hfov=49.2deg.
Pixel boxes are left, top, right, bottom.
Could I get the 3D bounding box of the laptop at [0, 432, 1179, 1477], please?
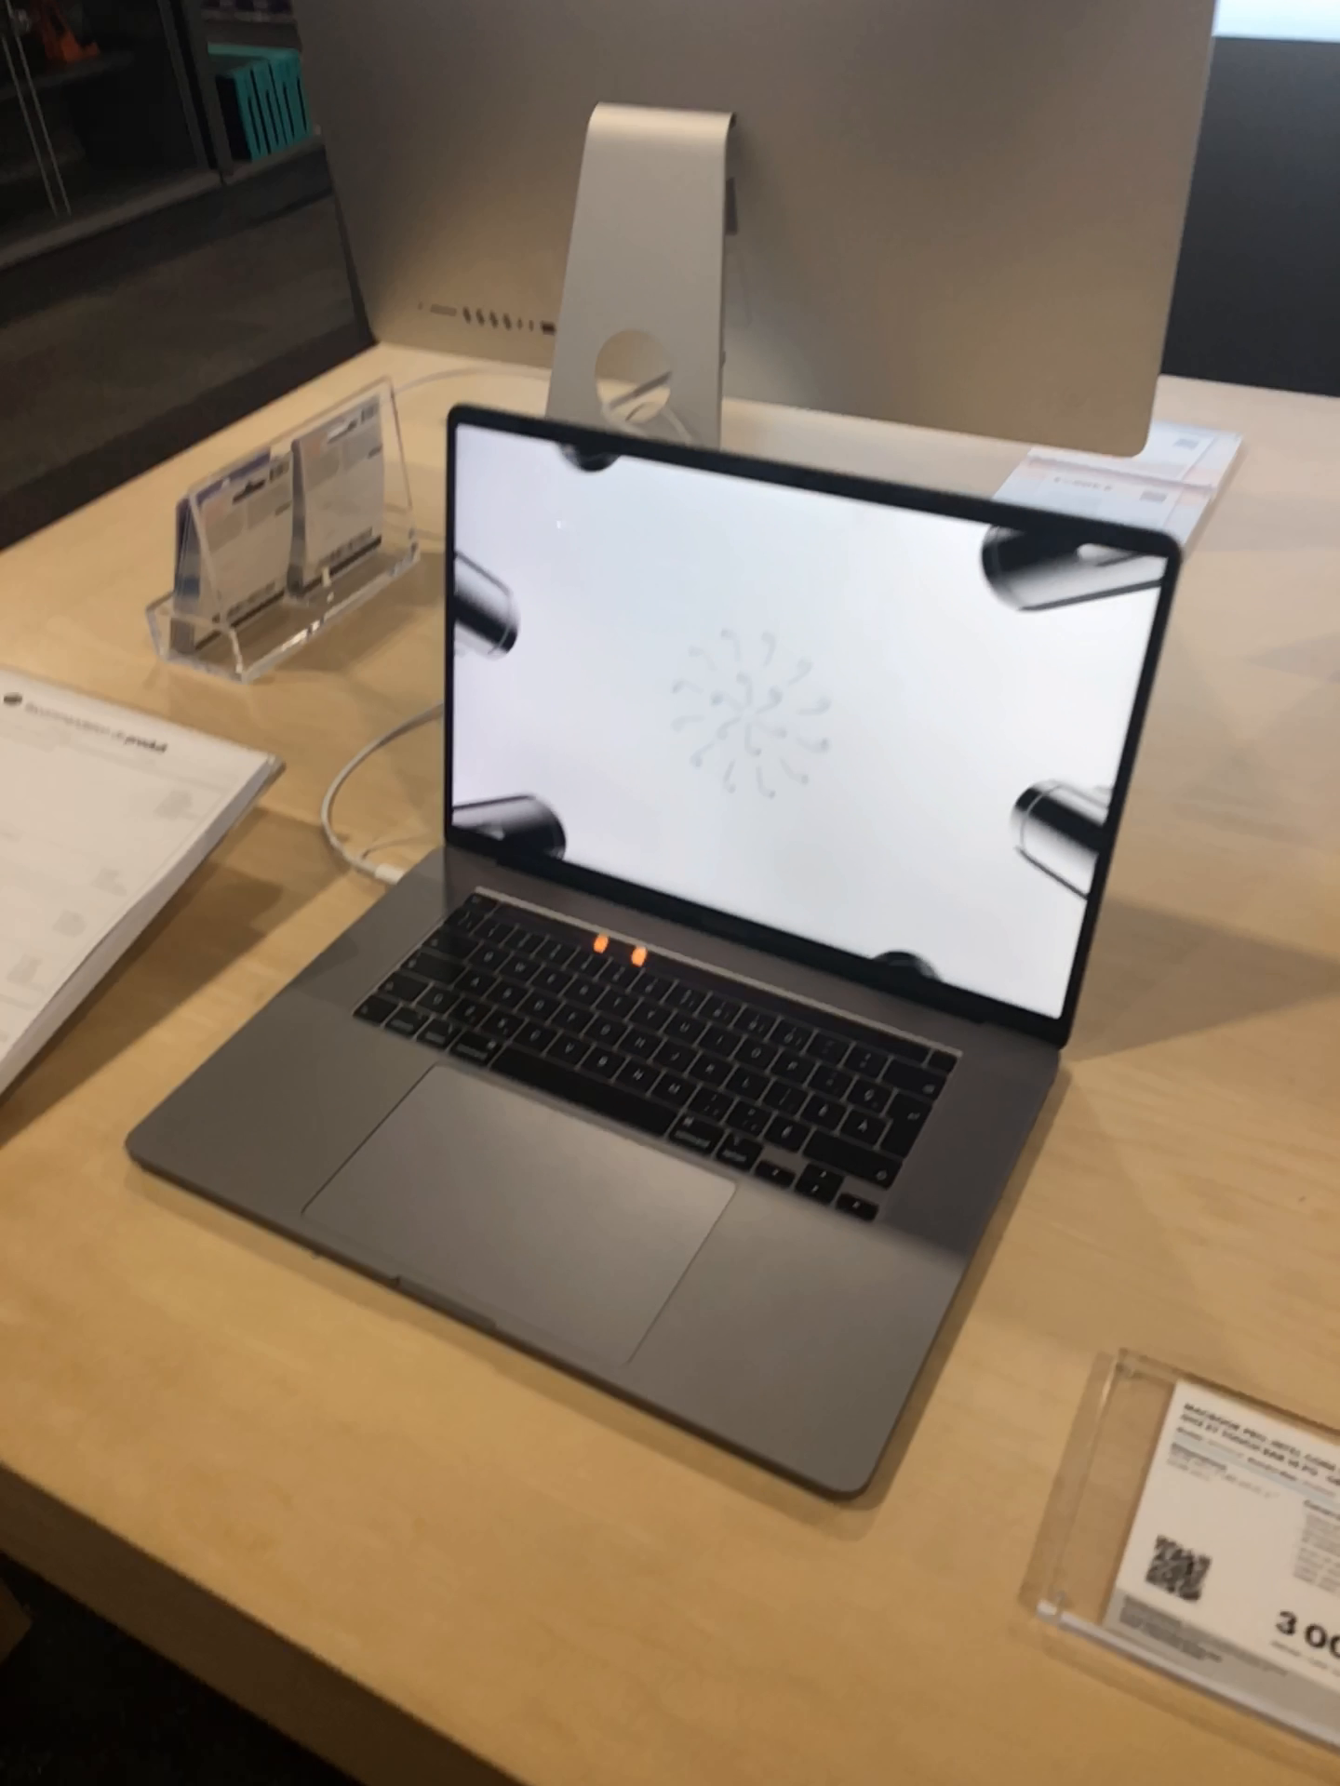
[{"bbox_3d":[-0.021,-0.008,0.607,0.344,0.227,0.292,17,43,24],"label":"laptop"}]
